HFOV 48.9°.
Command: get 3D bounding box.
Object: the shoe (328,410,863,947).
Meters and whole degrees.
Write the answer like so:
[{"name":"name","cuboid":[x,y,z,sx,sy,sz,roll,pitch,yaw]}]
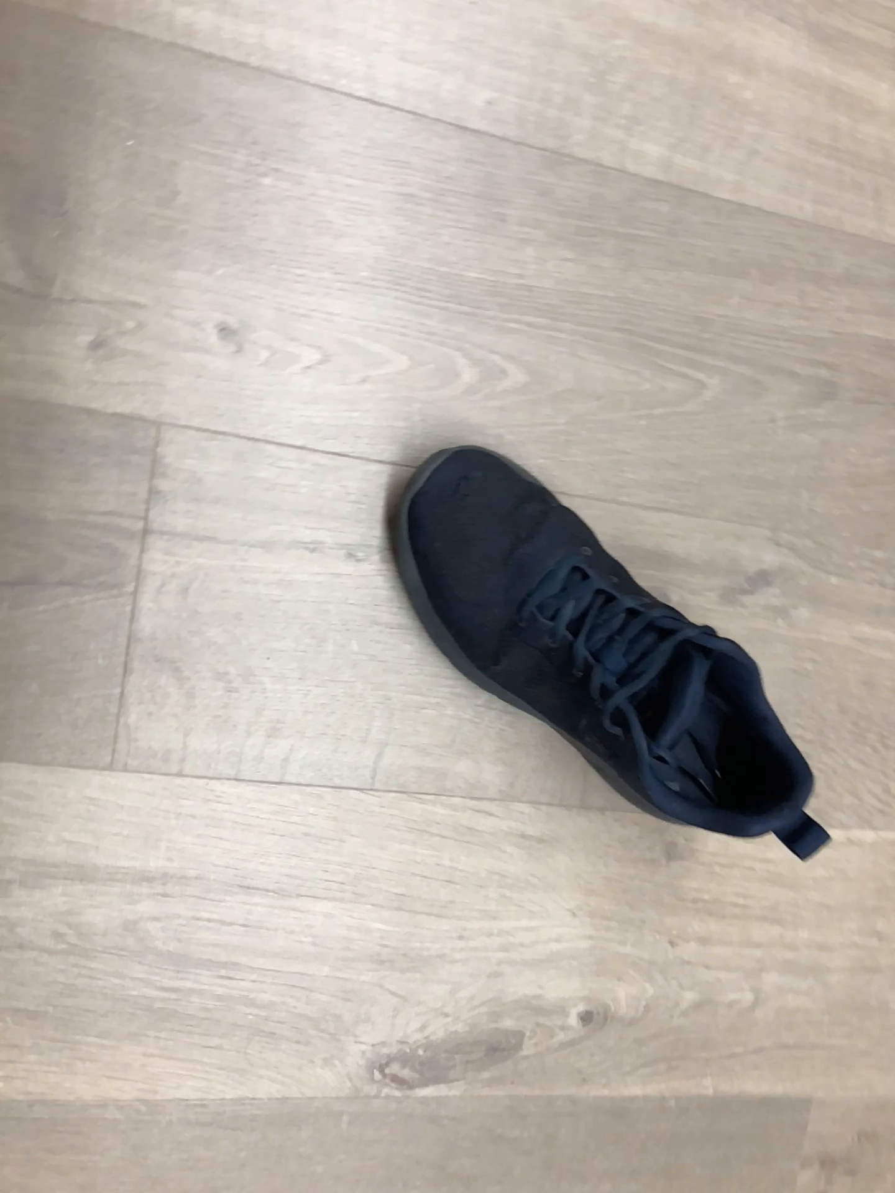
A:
[{"name":"shoe","cuboid":[0.079,0.044,0.542,0.100,0.110,0.290,-45,105,-6]}]
